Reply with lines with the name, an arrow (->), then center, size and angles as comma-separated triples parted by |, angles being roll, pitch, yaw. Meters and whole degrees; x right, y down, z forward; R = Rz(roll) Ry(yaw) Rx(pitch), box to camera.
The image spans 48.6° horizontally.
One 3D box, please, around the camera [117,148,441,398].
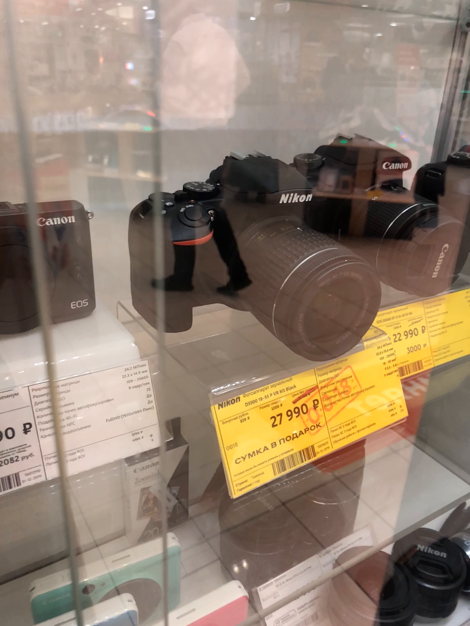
camera -> 0.017, -0.037, 0.301 | 0.130, 0.092, 0.120 | -12, 28, -30
